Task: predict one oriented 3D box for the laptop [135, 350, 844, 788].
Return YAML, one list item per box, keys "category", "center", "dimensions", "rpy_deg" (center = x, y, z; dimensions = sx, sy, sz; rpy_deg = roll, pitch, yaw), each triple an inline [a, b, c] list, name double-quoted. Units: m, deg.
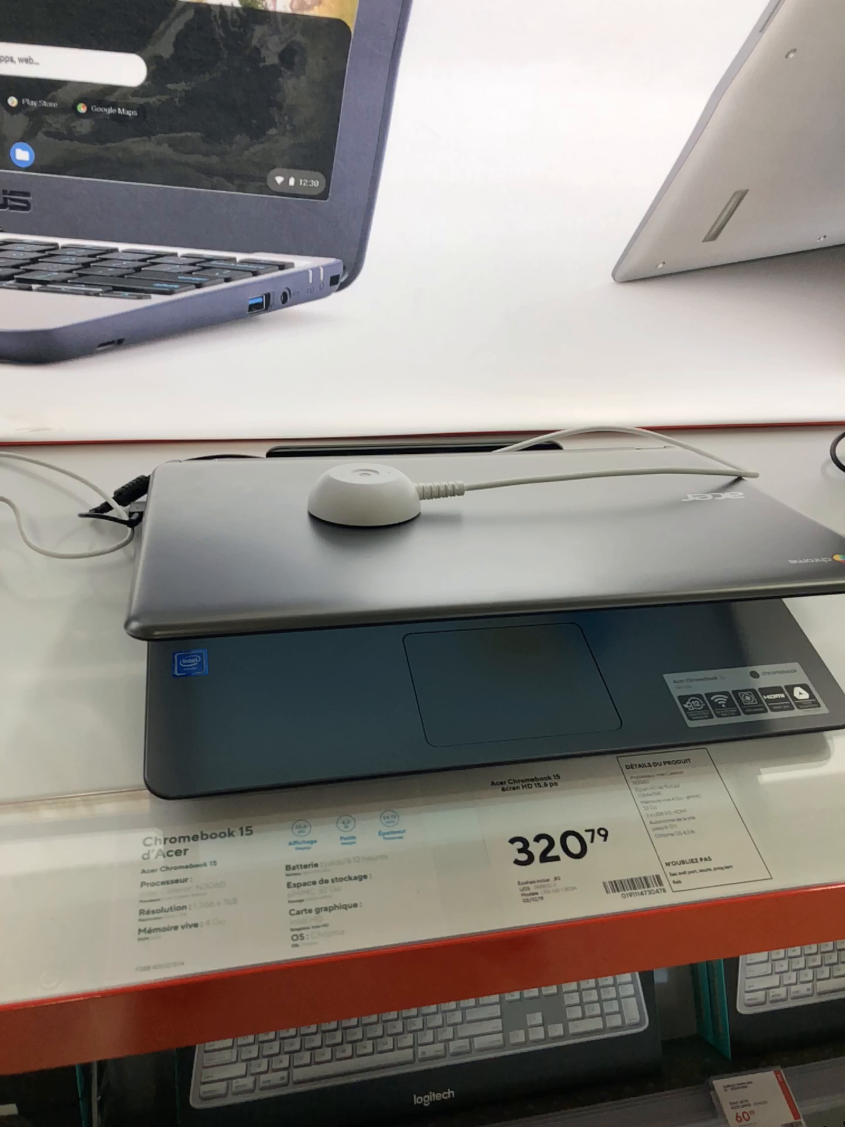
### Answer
- category: "laptop"
  center: [0.037, -0.020, 0.524]
  dimensions: [0.369, 0.088, 0.249]
  rpy_deg: [-3, 42, -11]
